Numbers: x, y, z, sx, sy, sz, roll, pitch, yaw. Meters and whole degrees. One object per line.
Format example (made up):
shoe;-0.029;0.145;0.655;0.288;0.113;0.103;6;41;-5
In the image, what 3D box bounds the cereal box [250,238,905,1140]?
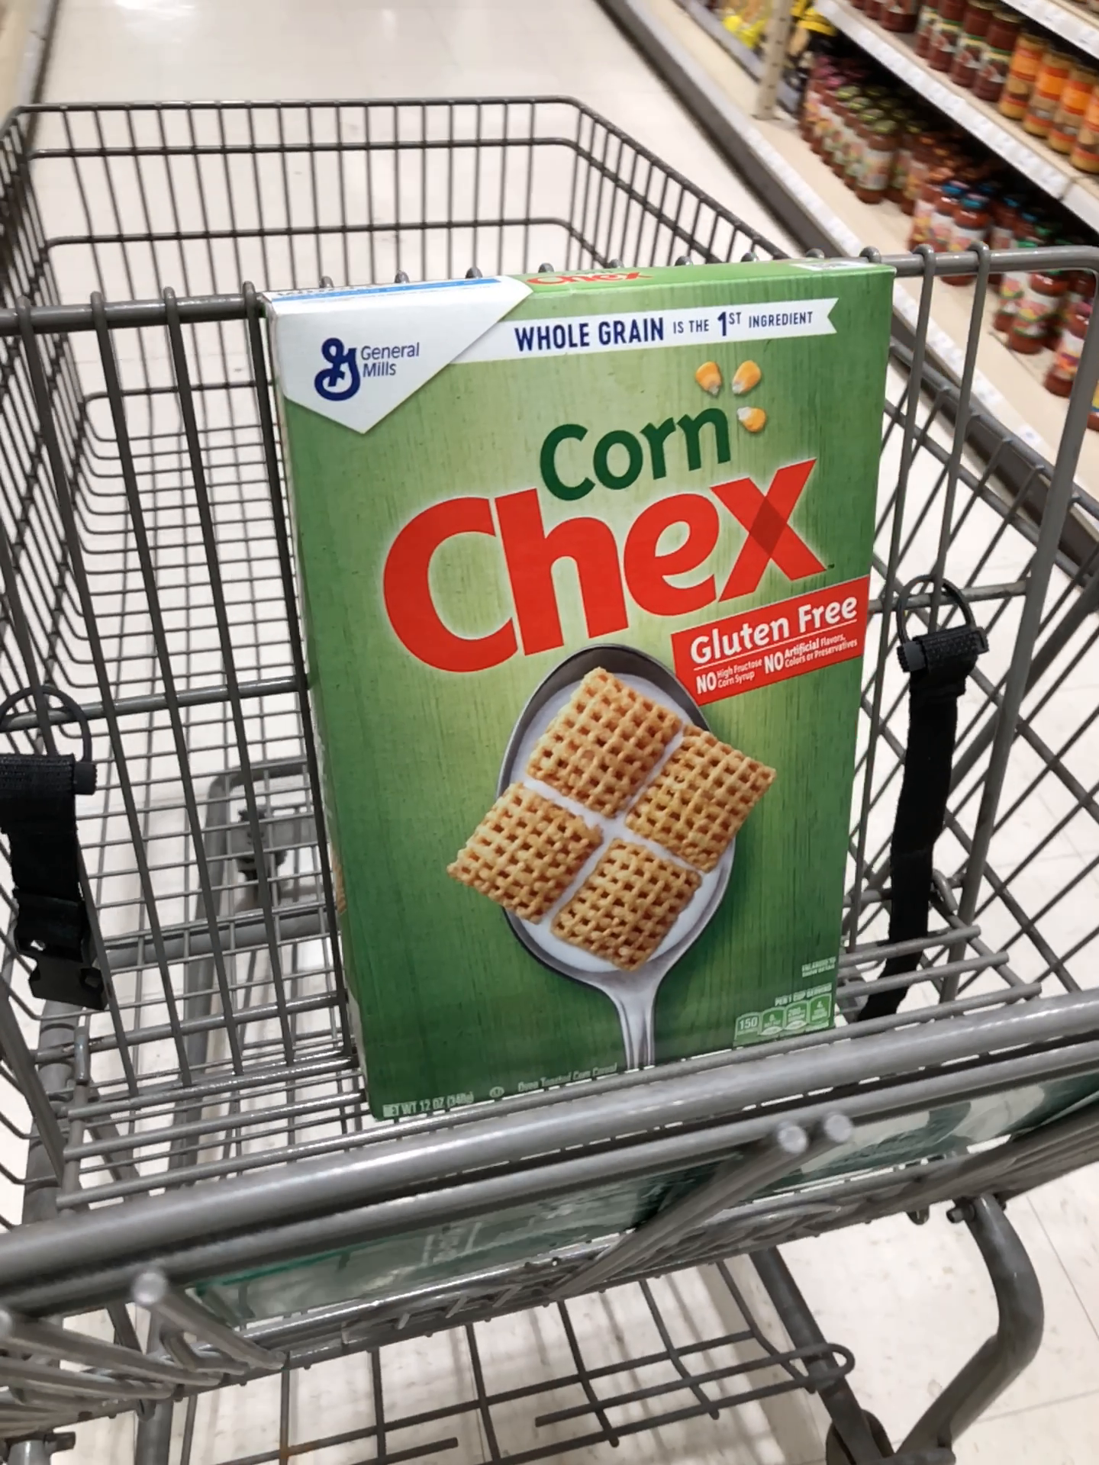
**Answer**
cereal box;0.014;-0.010;0.450;0.200;0.310;0.060;-8;25;-12
